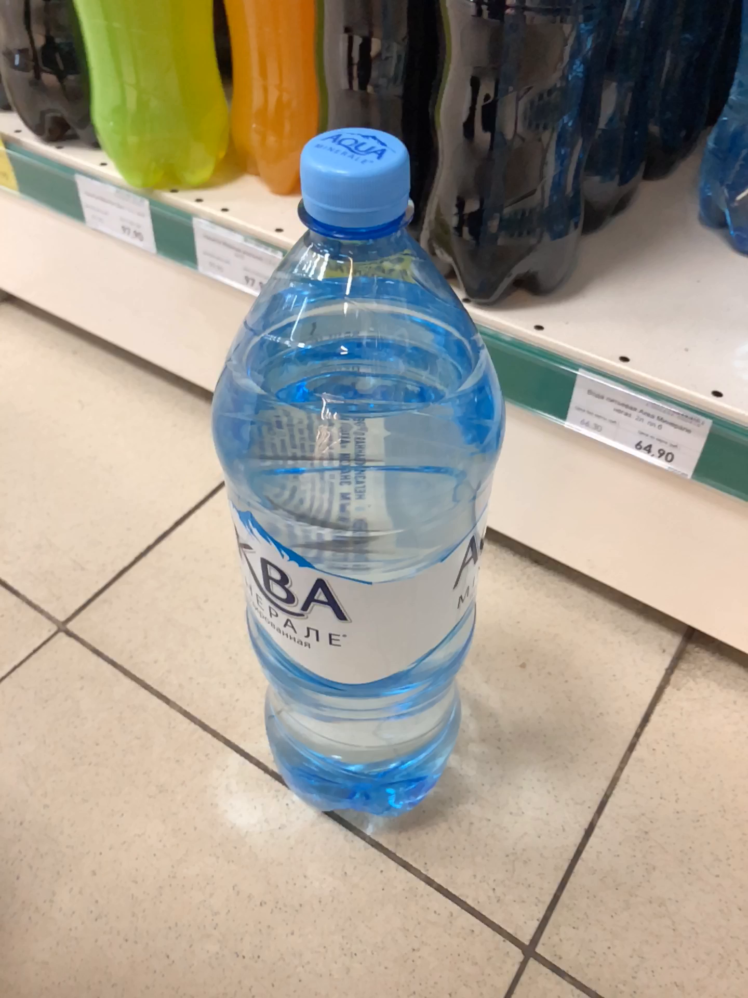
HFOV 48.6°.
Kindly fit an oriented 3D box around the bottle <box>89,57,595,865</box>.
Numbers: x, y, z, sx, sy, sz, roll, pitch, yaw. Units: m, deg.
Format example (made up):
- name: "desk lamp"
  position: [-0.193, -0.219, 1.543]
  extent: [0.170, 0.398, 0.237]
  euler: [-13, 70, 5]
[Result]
- name: "bottle"
  position: [-0.012, 0.017, 0.339]
  extent: [0.105, 0.322, 0.088]
  euler: [35, 54, 28]
